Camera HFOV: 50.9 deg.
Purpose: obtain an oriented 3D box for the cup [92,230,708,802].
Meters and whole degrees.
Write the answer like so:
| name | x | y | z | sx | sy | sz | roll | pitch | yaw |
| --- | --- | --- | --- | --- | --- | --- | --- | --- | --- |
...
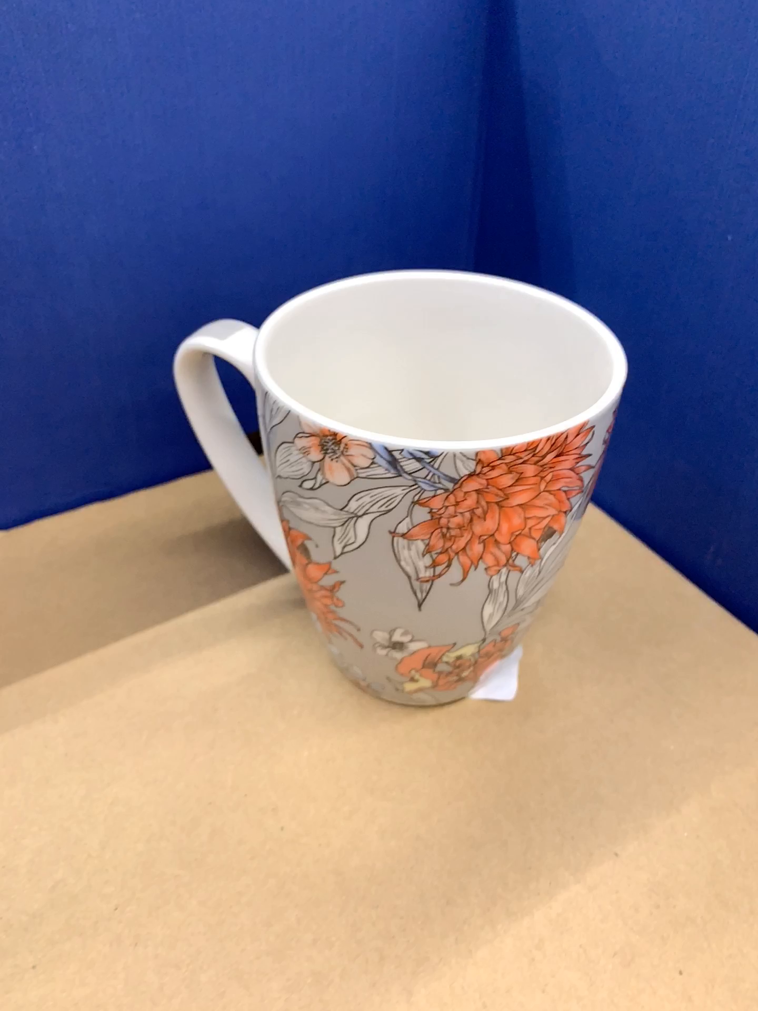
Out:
| name | x | y | z | sx | sy | sz | roll | pitch | yaw |
| --- | --- | --- | --- | --- | --- | --- | --- | --- | --- |
| cup | 0.005 | -0.009 | 0.217 | 0.117 | 0.085 | 0.092 | 25 | 42 | 27 |
